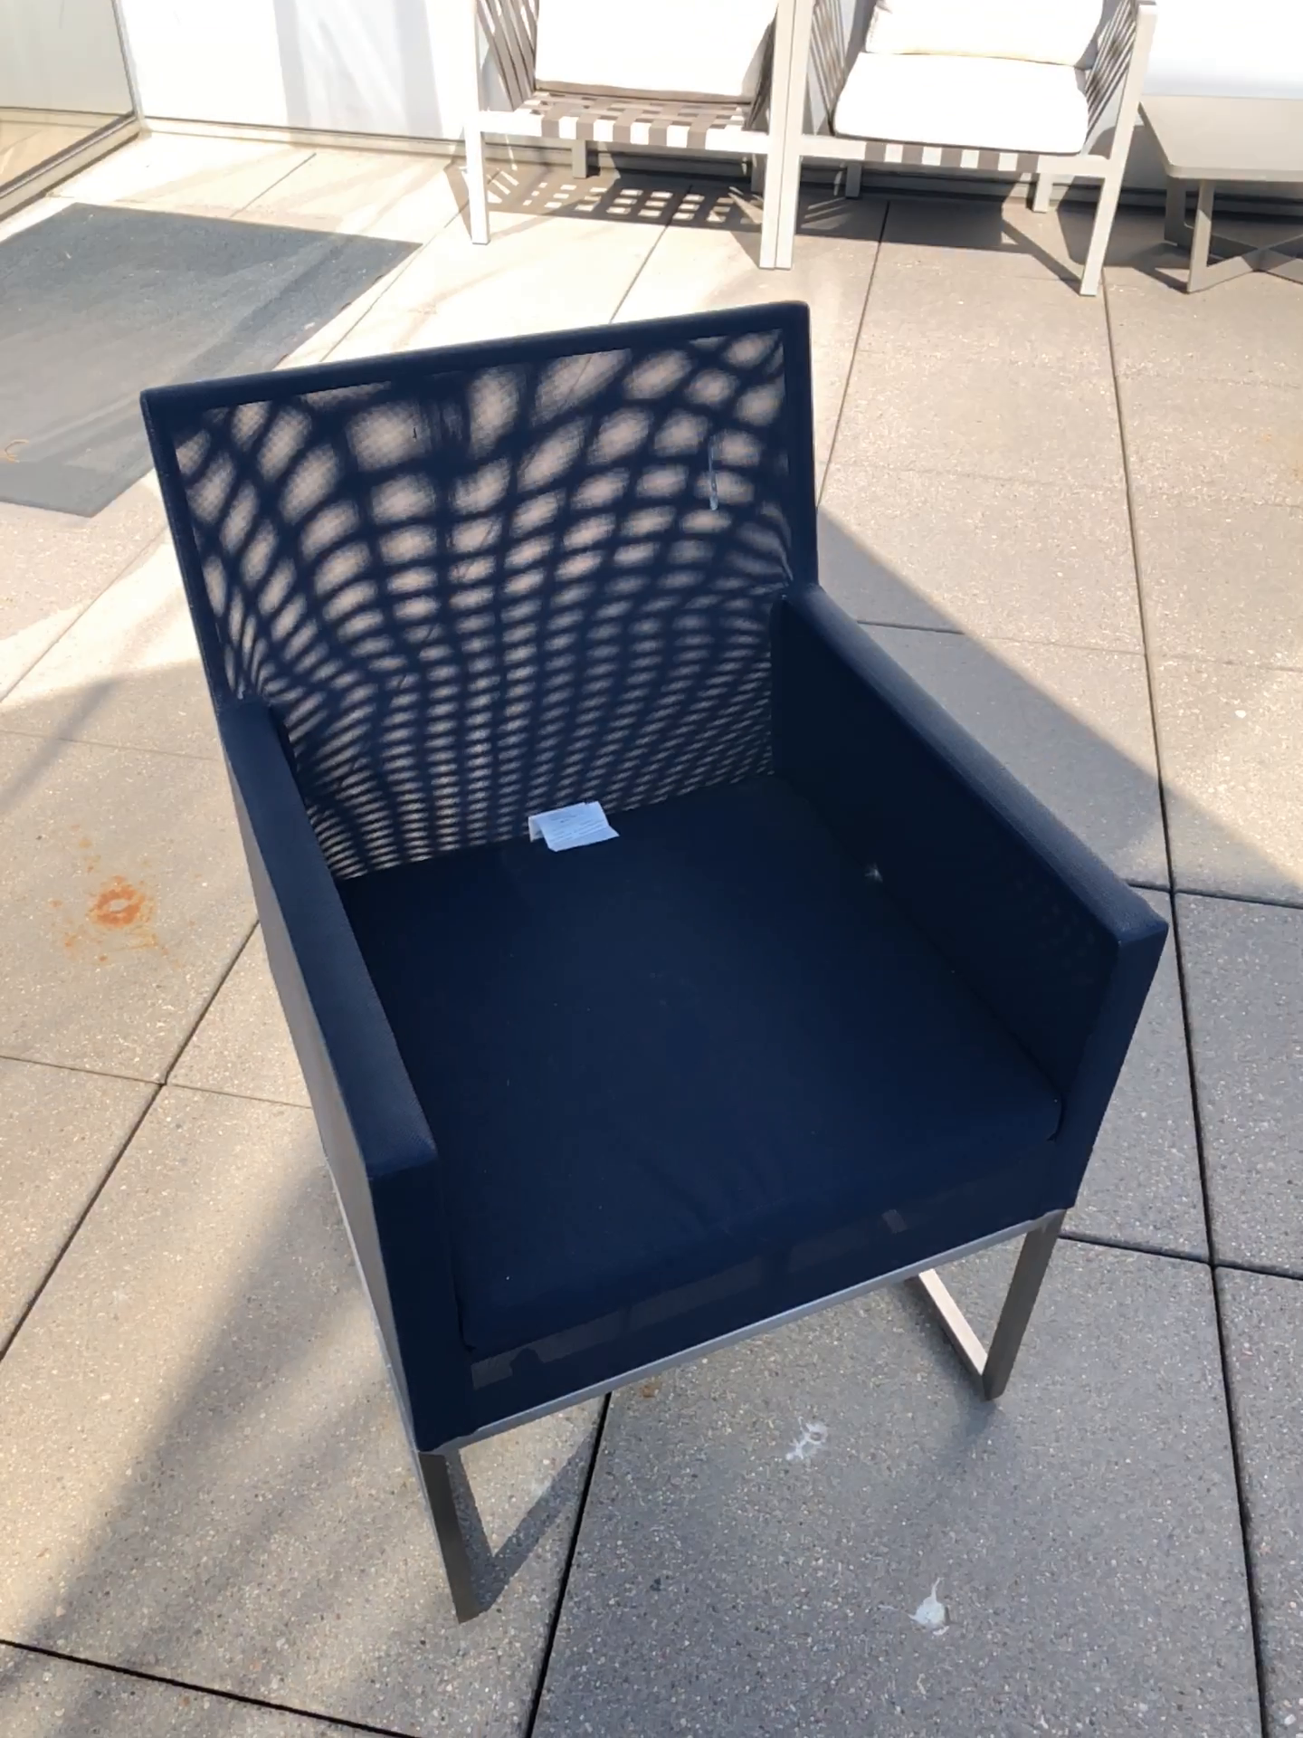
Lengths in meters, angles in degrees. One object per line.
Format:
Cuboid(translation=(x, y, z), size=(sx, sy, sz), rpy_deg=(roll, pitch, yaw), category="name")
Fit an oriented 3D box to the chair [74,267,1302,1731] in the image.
Cuboid(translation=(0.003, 0.065, 1.141), size=(0.650, 0.776, 0.673), rpy_deg=(-14, 43, -16), category="chair")
